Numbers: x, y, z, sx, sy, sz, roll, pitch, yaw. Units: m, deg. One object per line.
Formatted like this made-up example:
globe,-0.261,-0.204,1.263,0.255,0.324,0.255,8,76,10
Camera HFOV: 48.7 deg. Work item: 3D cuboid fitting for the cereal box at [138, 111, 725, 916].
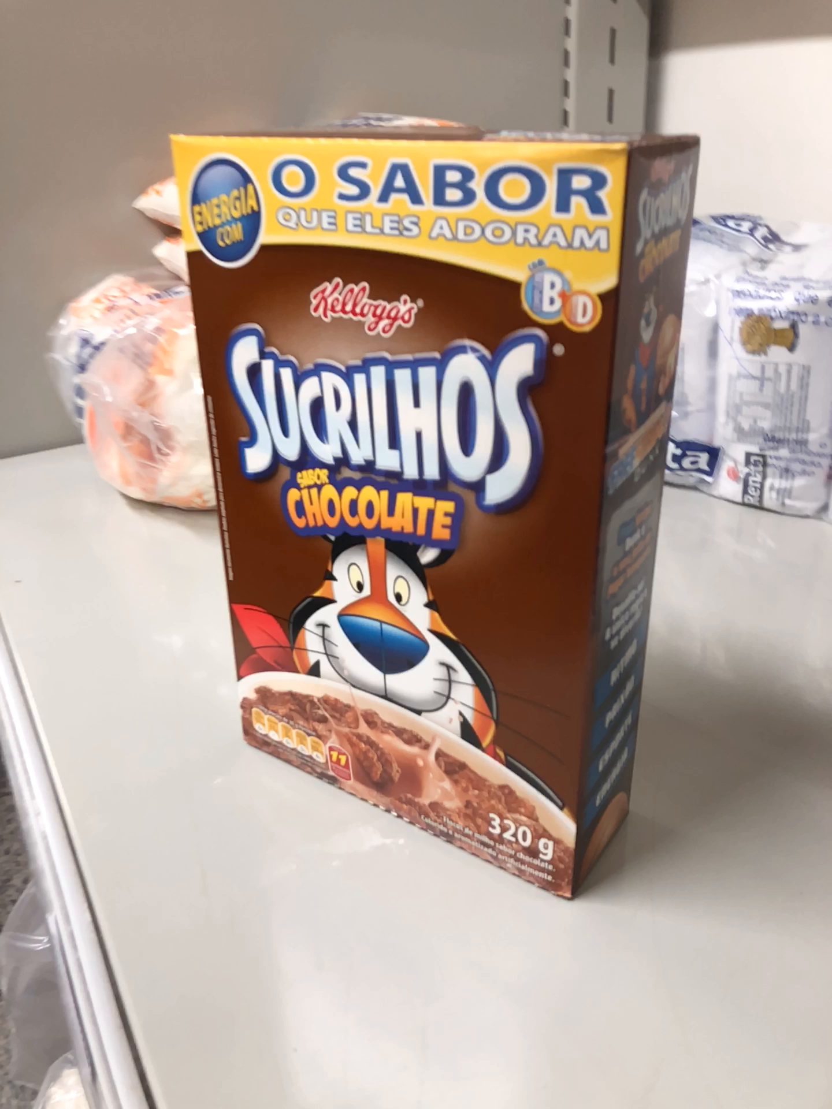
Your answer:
cereal box,0.001,-0.021,0.354,0.180,0.268,0.070,16,31,31
